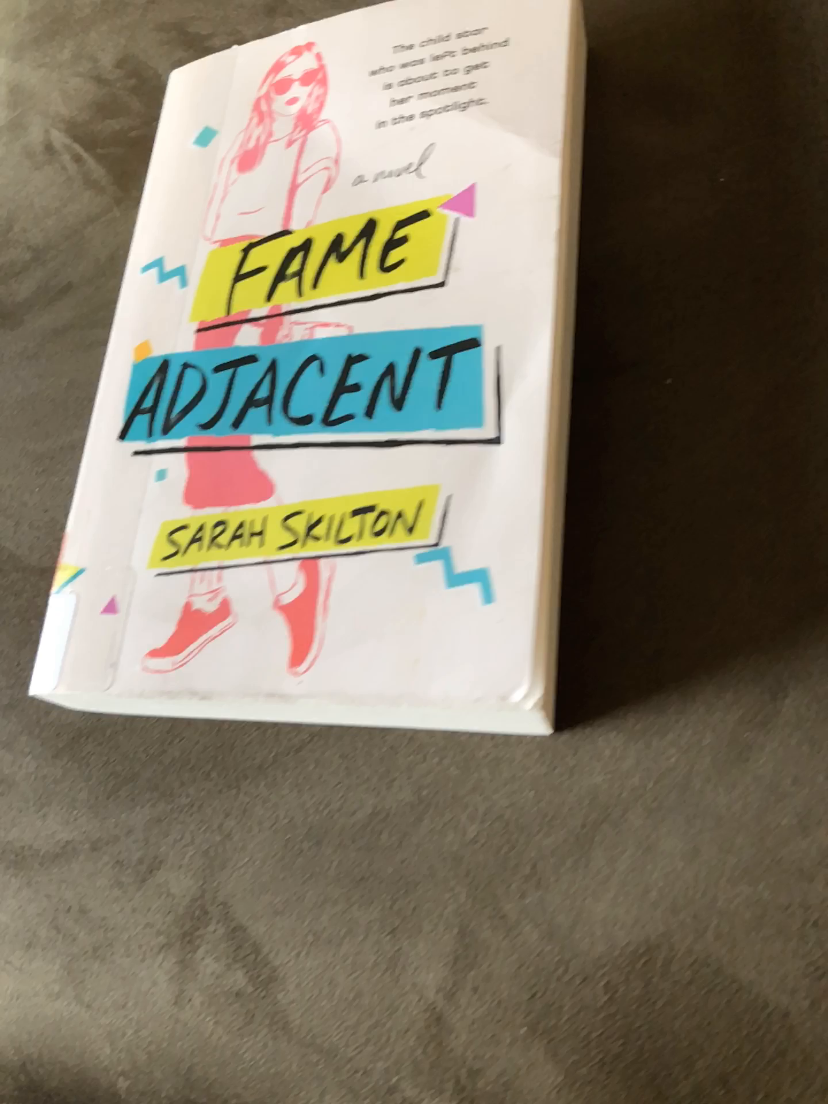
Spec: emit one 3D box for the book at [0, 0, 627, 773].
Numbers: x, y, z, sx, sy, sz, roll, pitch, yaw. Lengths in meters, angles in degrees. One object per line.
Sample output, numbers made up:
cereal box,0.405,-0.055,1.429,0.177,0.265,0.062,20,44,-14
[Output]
book,-0.021,-0.060,0.245,0.140,0.040,0.220,-2,69,23
